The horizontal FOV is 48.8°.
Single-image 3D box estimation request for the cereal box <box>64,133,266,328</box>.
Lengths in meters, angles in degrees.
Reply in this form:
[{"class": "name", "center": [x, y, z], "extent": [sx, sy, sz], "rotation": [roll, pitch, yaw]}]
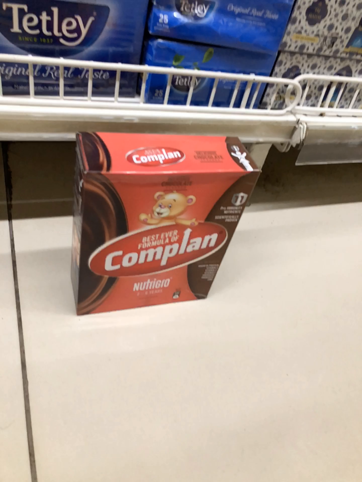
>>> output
[{"class": "cereal box", "center": [-0.028, -0.002, 0.356], "extent": [0.140, 0.179, 0.050], "rotation": [-4, 48, -21]}]
